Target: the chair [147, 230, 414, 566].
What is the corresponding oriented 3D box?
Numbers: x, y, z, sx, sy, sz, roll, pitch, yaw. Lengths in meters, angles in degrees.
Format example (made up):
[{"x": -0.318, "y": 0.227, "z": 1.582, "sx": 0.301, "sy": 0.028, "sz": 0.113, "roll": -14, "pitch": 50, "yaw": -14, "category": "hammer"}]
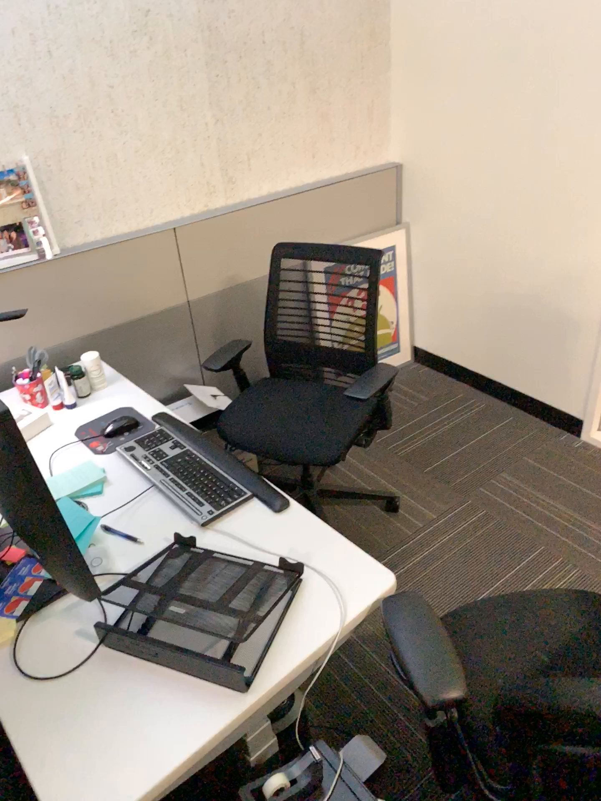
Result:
[{"x": -0.004, "y": -0.044, "z": 2.281, "sx": 0.672, "sy": 0.954, "sz": 0.653, "roll": 10, "pitch": 35, "yaw": 24, "category": "chair"}]
